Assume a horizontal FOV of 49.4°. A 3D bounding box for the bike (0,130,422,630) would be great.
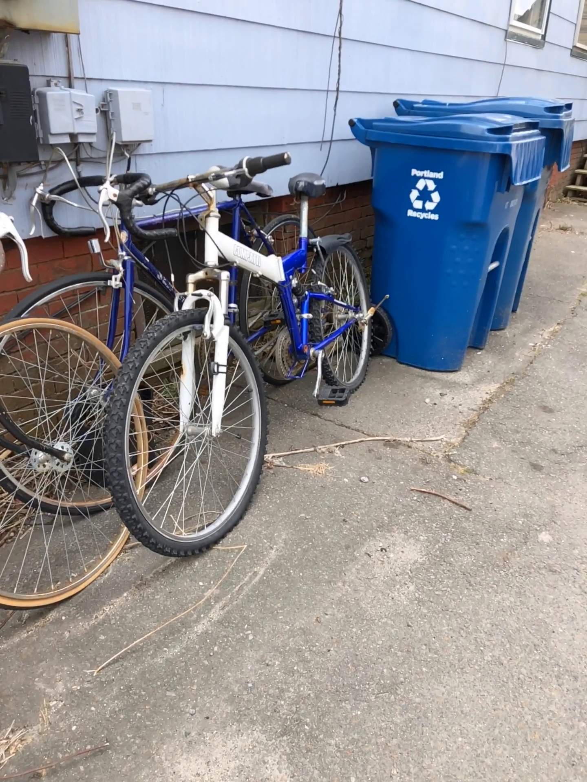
[{"bbox_3d":[-0.121,-0.270,2.217,0.562,0.979,1.738,13,30,22],"label":"bike"}]
